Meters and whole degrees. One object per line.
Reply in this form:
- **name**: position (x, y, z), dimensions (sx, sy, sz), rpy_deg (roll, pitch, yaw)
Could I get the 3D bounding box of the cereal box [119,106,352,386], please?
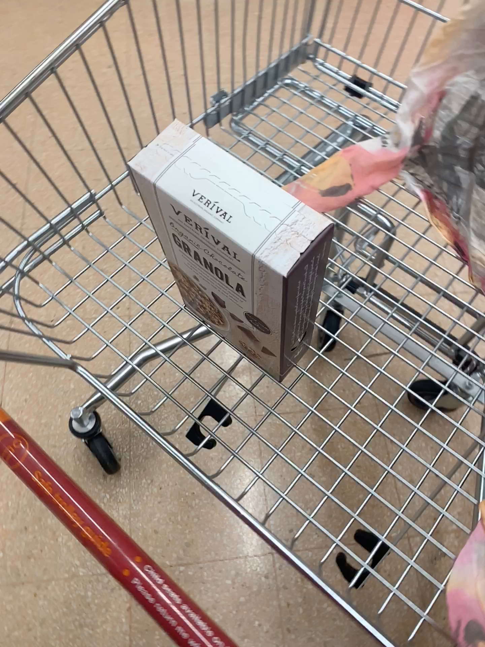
- **cereal box**: position (-0.003, -0.040, 0.396), dimensions (0.140, 0.219, 0.050), rpy_deg (38, 75, 15)
